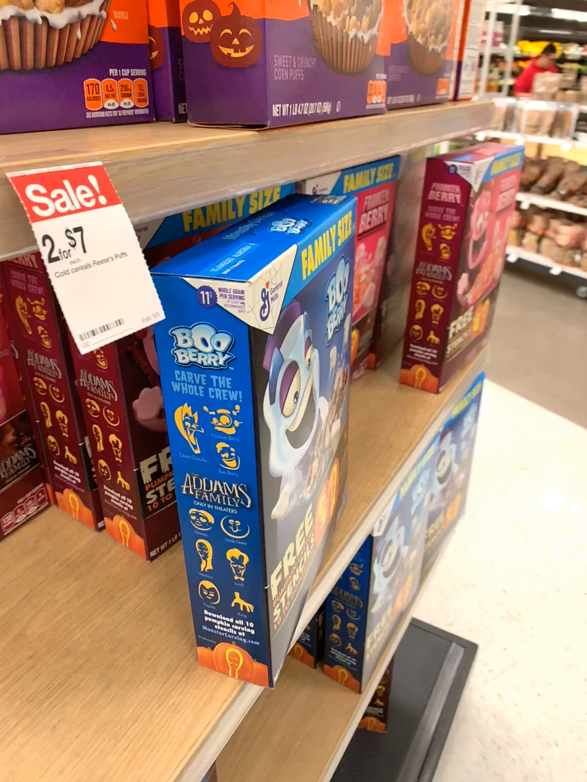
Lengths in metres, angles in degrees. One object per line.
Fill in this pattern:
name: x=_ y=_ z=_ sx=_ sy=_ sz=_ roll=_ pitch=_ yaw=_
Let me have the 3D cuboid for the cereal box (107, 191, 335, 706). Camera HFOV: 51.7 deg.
cereal box: x=-0.026 y=0.027 z=0.466 sx=0.060 sy=0.308 sz=0.241 roll=7 pitch=28 yaw=15
